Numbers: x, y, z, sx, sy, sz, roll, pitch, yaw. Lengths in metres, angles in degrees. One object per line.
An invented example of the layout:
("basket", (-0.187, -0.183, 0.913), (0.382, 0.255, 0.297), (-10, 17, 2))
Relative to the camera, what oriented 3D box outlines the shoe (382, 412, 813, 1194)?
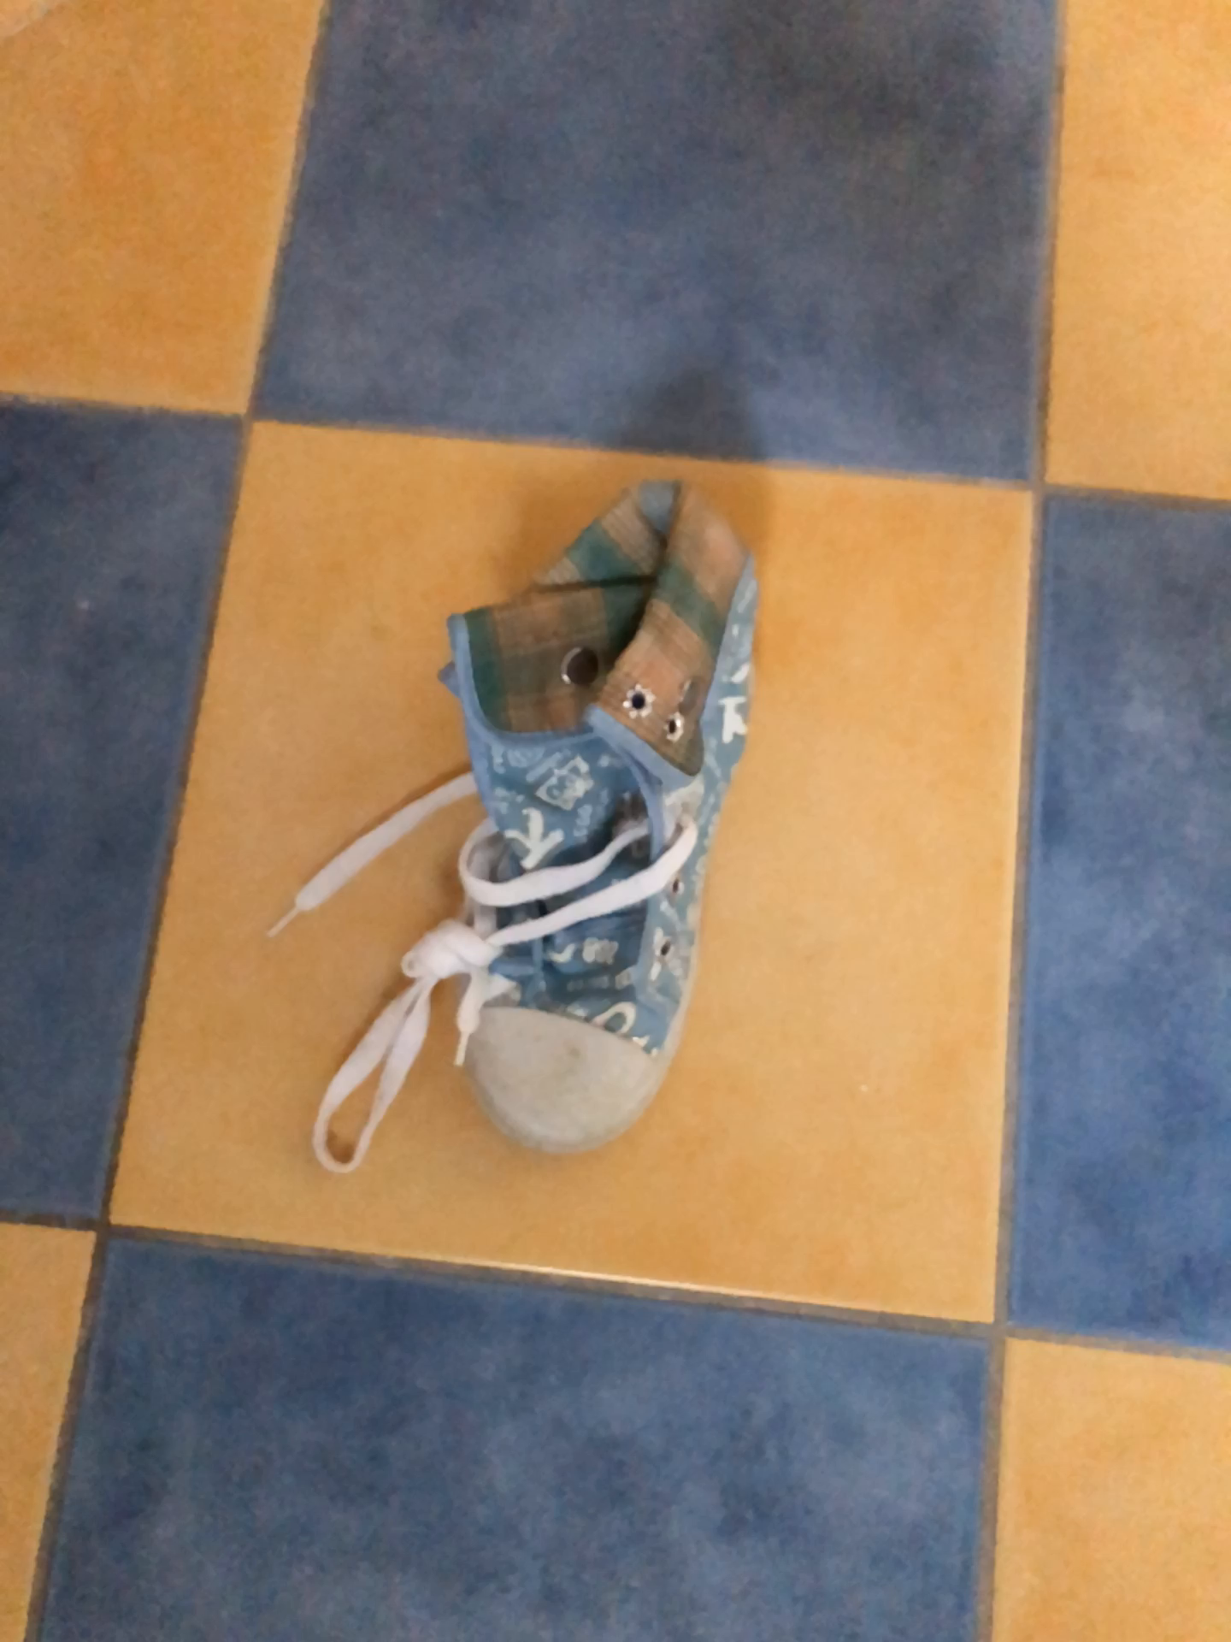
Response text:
("shoe", (0.000, 0.002, 0.416), (0.080, 0.120, 0.200), (9, 78, 4))
